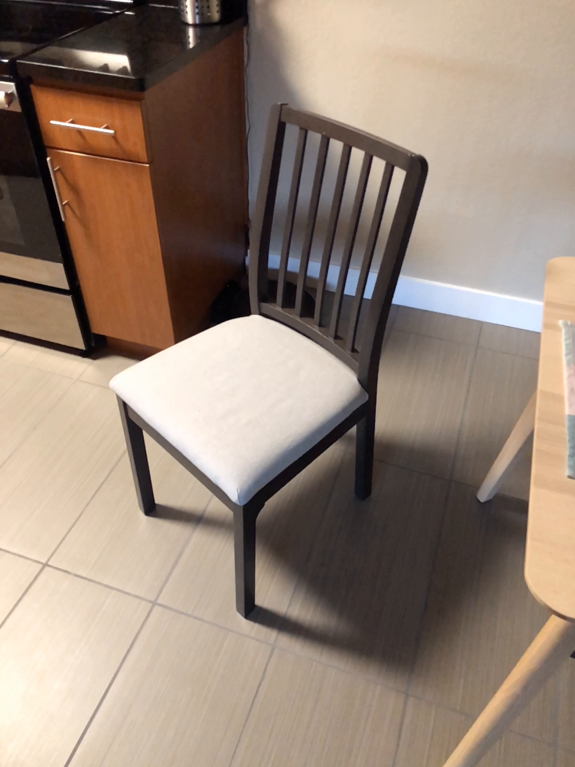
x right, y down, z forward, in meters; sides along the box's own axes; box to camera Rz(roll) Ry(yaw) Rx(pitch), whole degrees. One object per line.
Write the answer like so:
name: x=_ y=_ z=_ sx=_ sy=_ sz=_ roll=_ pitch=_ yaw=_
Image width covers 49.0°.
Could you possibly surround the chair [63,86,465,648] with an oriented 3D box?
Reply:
chair: x=-0.054 y=0.011 z=1.471 sx=0.511 sy=1.125 sz=0.481 roll=-29 pitch=50 yaw=-29
